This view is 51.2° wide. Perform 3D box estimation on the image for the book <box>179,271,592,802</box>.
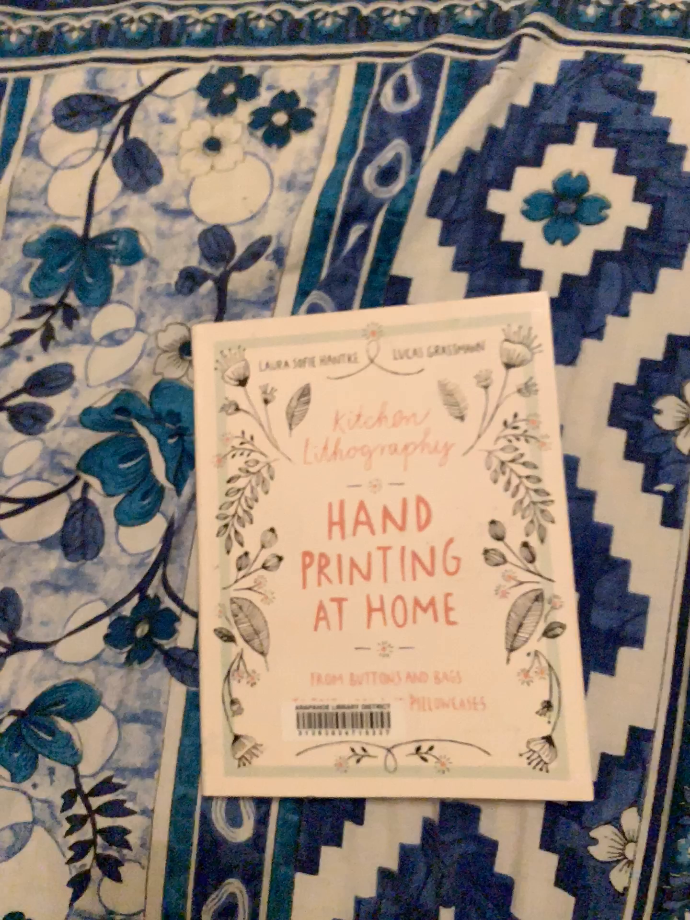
[{"bbox_3d":[0.011,0.032,0.323,0.170,0.020,0.220,-4,81,9],"label":"book"}]
